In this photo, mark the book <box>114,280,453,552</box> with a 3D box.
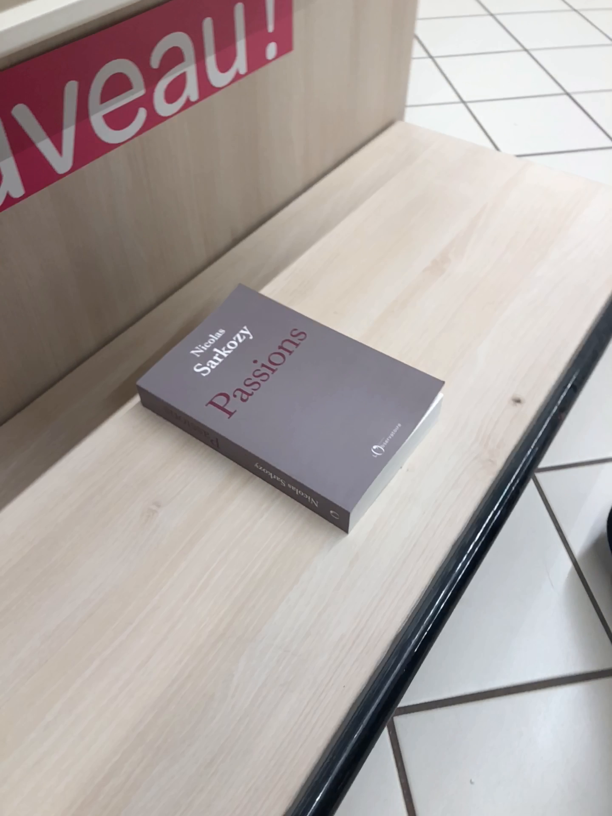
[{"bbox_3d":[-0.018,-0.007,0.560,0.224,0.044,0.157,28,54,21],"label":"book"}]
